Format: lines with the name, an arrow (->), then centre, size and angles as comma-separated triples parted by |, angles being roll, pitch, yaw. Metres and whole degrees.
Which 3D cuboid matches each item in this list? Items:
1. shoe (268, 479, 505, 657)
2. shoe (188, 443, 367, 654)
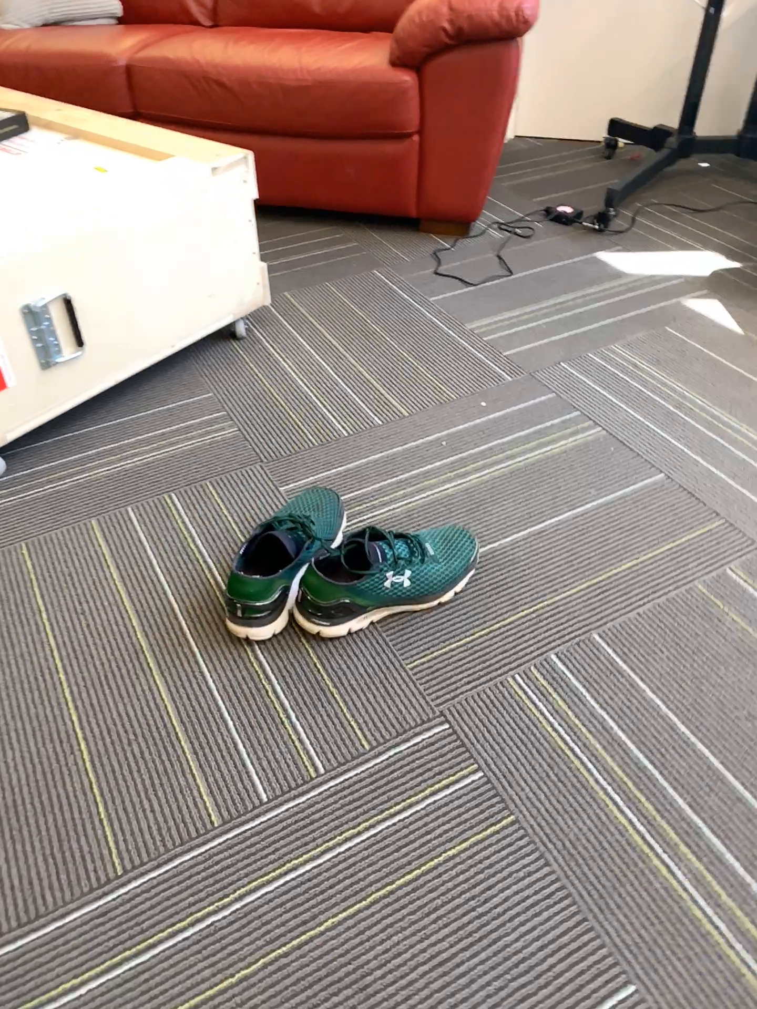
shoe -> 0.013, 0.087, 1.123 | 0.310, 0.119, 0.121 | -17, 44, -18
shoe -> -0.135, 0.053, 1.142 | 0.120, 0.109, 0.311 | 15, 44, 17
